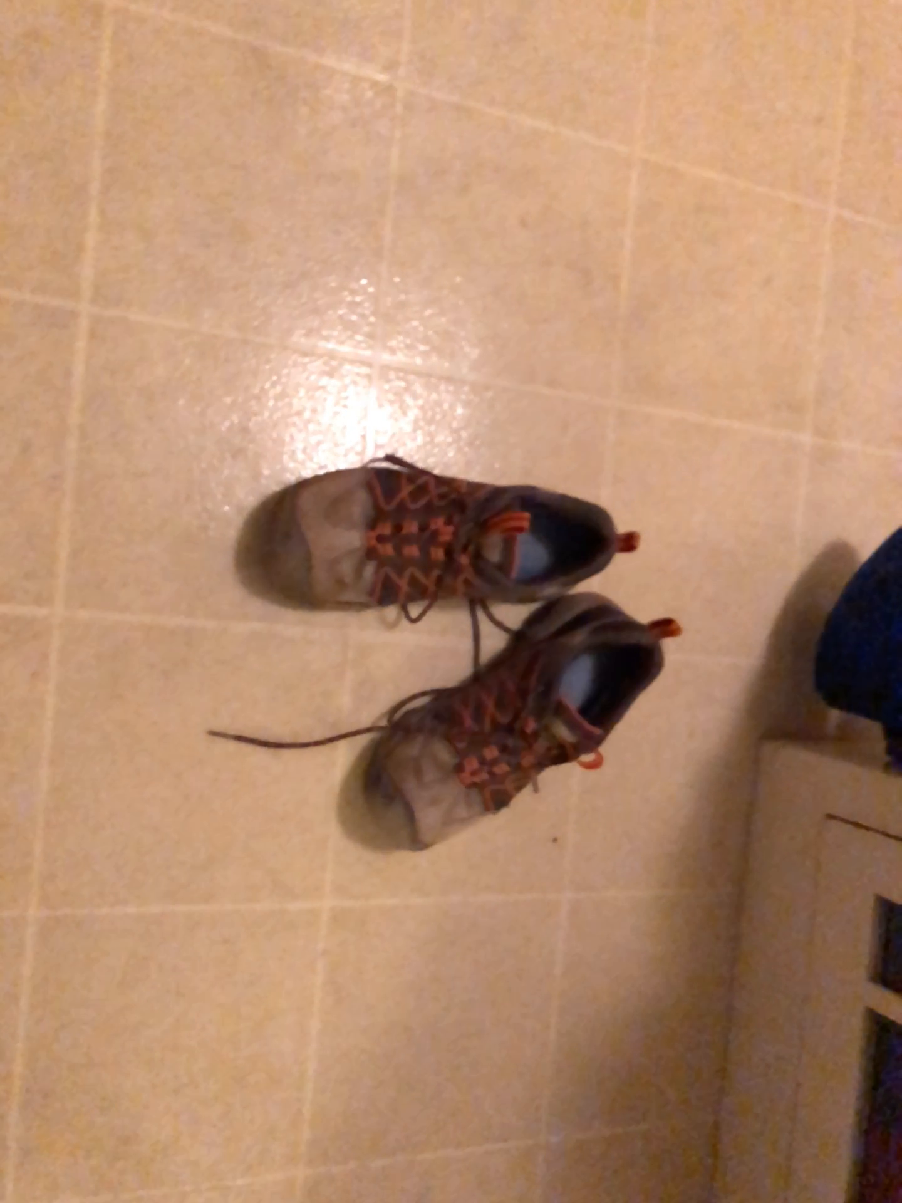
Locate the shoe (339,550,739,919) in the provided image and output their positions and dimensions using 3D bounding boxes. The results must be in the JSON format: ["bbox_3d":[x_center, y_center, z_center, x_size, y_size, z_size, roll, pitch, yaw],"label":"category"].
[{"bbox_3d":[0.071,0.094,0.815,0.282,0.122,0.127,-40,106,-15],"label":"shoe"}]

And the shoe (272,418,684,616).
[{"bbox_3d":[0.020,-0.059,0.780,0.293,0.122,0.127,2,92,-22],"label":"shoe"}]
